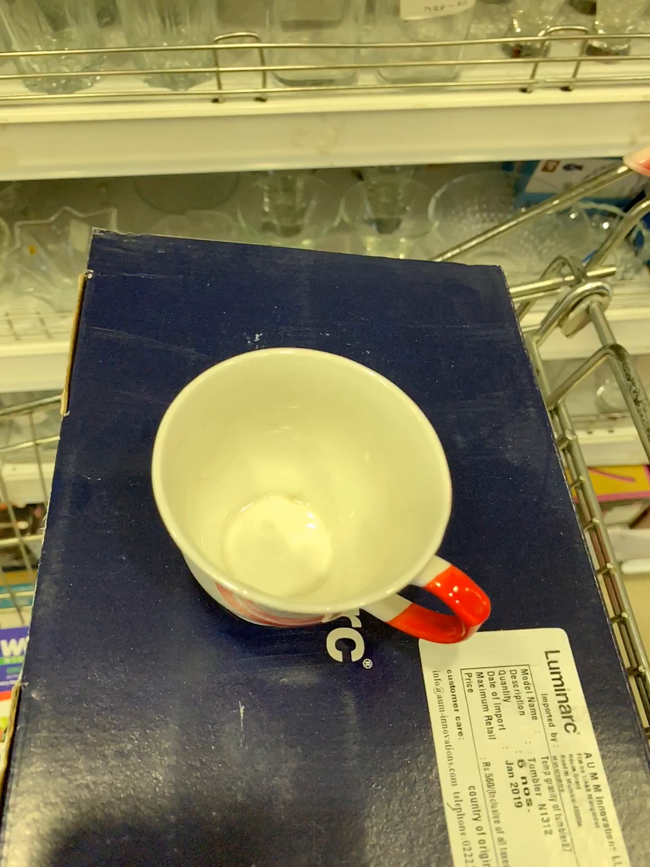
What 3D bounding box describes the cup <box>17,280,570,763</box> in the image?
[{"bbox_3d":[-0.005,0.022,0.168,0.100,0.050,0.070,25,60,5],"label":"cup"}]
